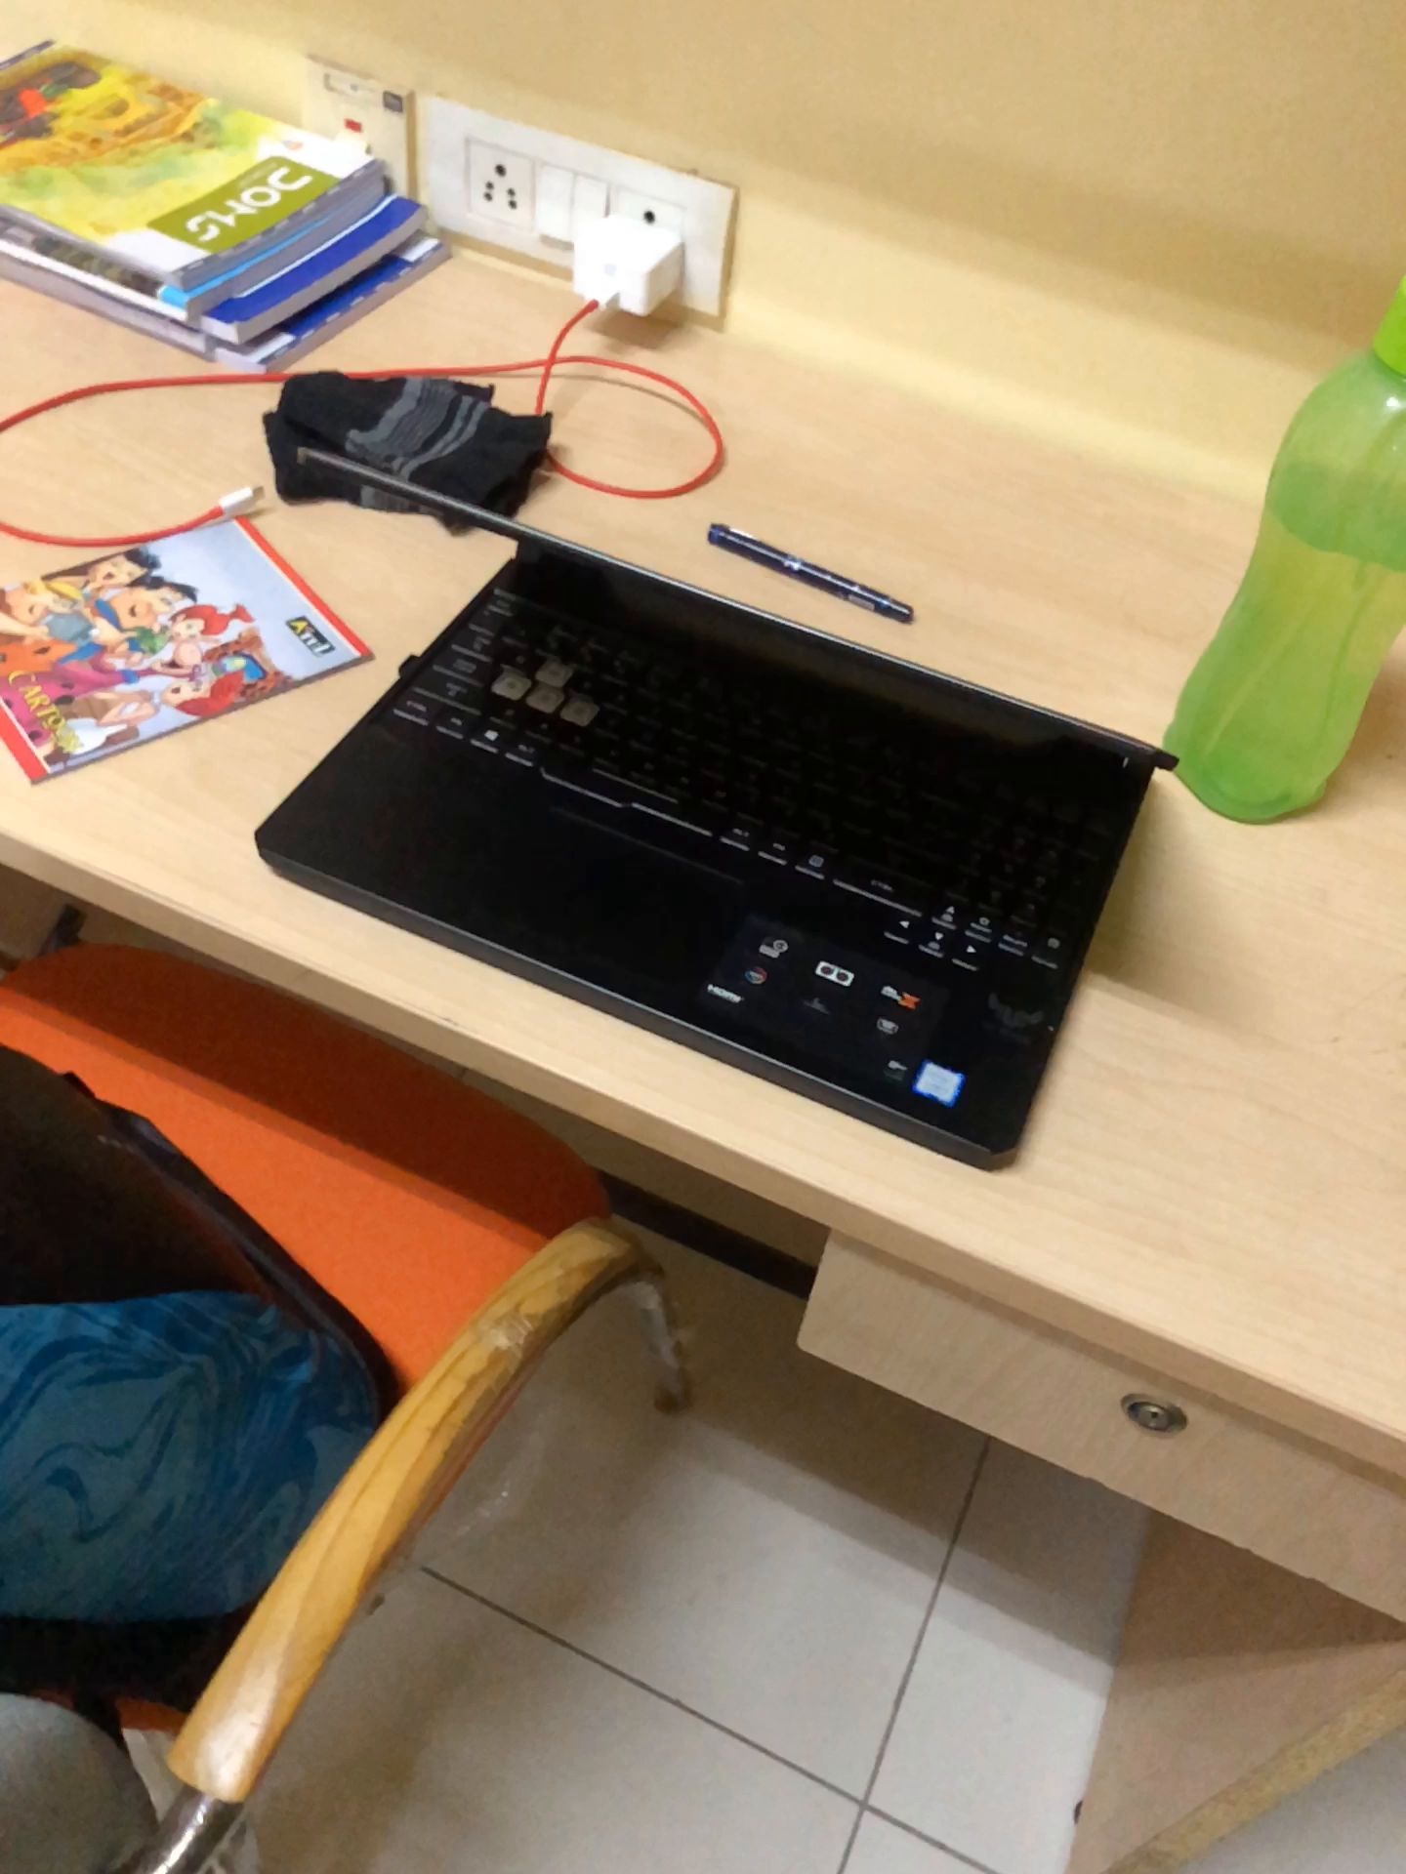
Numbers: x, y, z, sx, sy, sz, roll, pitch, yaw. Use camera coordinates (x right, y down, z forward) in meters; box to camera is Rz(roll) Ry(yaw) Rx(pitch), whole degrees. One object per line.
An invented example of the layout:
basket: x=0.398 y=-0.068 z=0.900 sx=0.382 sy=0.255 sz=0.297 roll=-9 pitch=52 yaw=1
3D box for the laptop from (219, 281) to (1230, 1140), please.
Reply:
laptop: x=0.014 y=-0.114 z=0.676 sx=0.339 sy=0.147 sz=0.249 roll=21 pitch=52 yaw=12
